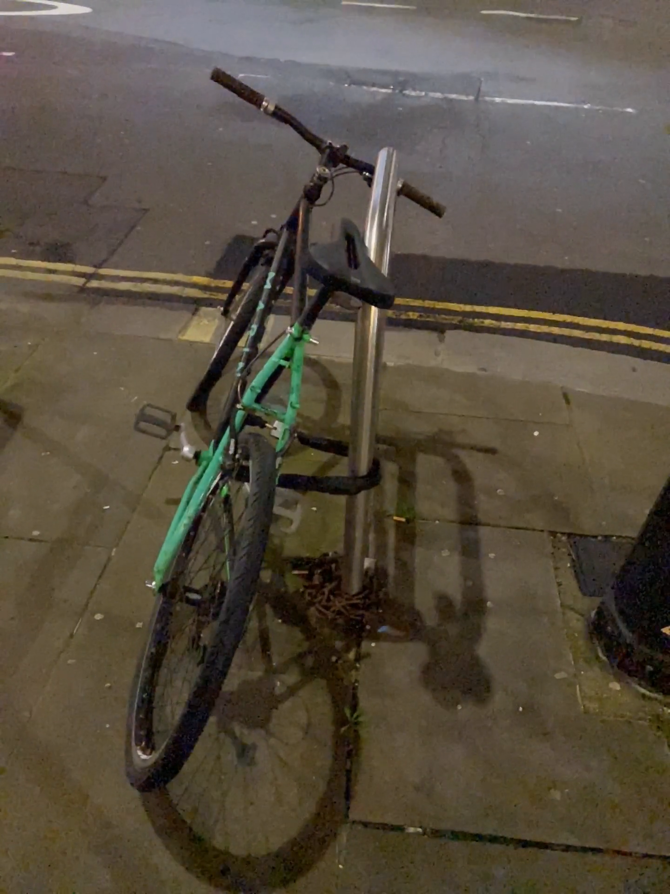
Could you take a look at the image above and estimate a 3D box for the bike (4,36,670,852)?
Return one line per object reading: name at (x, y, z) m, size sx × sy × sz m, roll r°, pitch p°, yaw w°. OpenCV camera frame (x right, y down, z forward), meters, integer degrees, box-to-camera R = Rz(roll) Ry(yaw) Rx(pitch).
bike at (0.016, -0.214, 1.573) m, size 0.638 × 1.014 × 1.697 m, roll 1°, pitch 39°, yaw -2°
